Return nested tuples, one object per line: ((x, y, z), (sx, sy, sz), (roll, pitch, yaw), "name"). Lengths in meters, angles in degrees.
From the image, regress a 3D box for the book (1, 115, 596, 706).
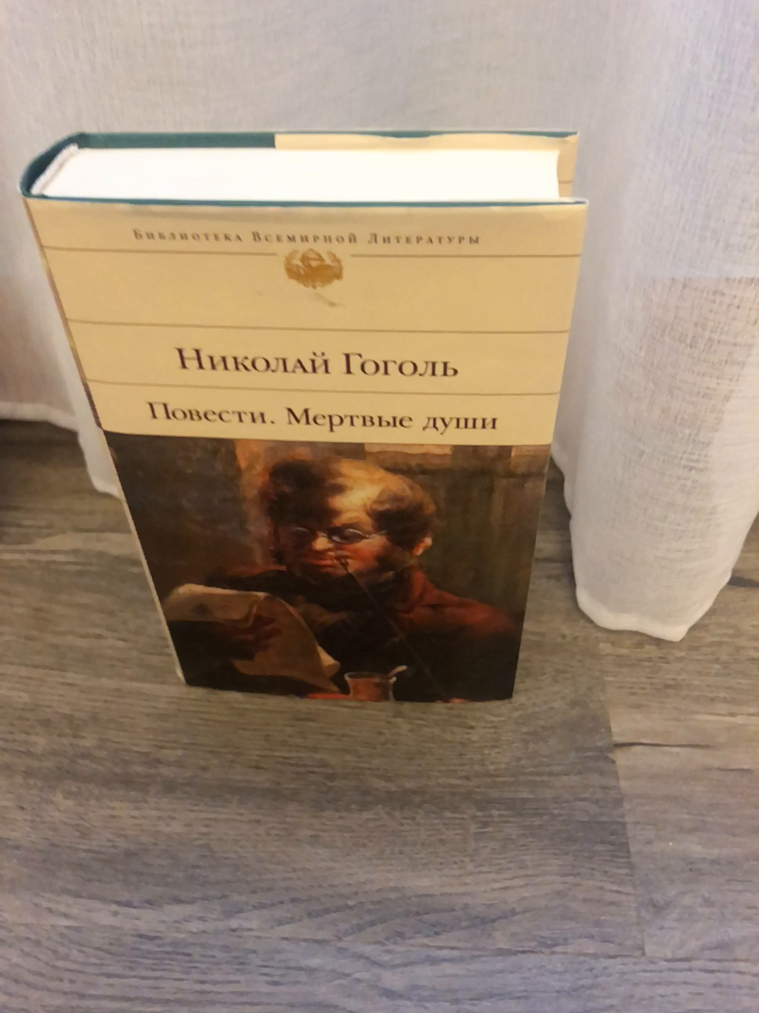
((-0.016, -0.012, 0.278), (0.133, 0.209, 0.041), (2, 45, 3), "book")
